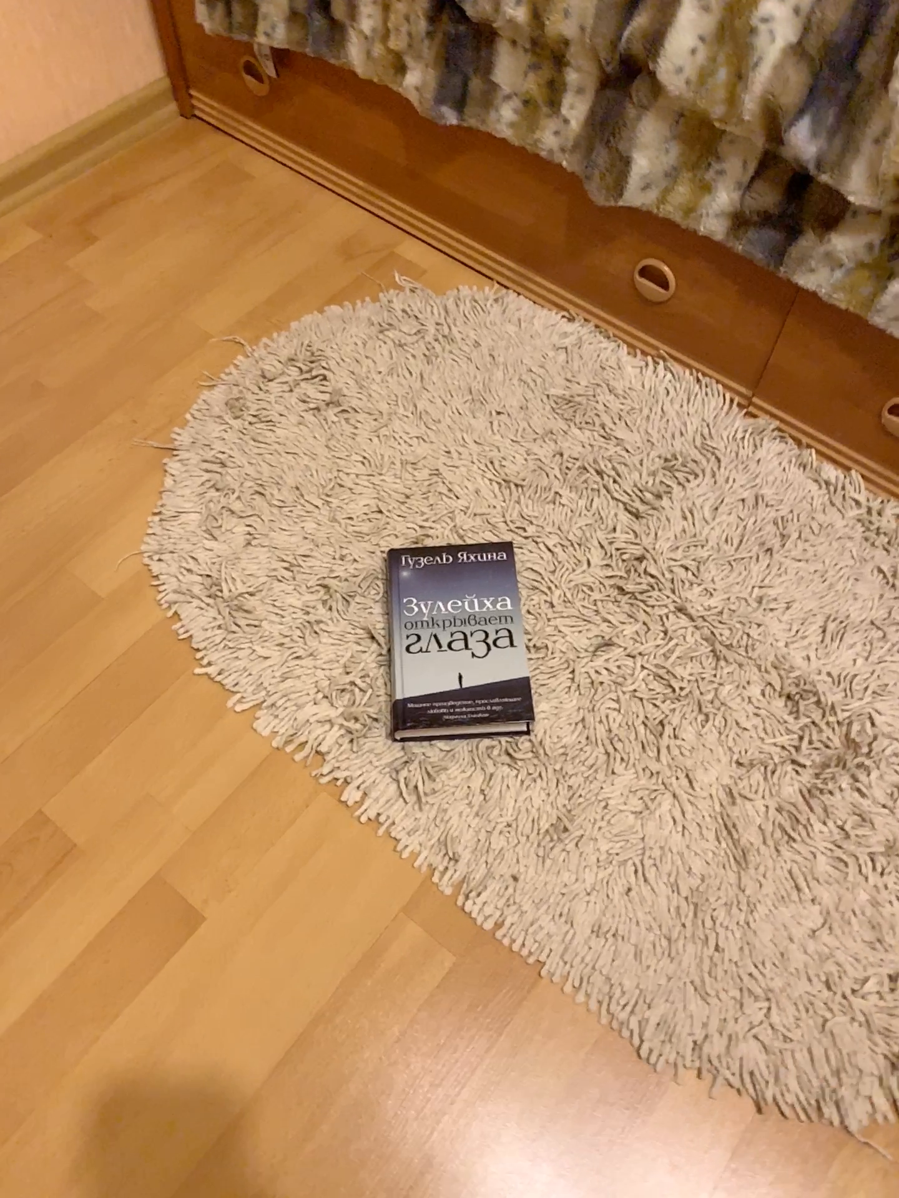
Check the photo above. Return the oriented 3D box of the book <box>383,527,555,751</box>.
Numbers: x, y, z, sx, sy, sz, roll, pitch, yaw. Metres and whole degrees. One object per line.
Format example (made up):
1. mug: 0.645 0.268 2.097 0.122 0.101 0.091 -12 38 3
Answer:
1. book: 0.013 0.034 0.900 0.150 0.040 0.221 -2 59 -3
